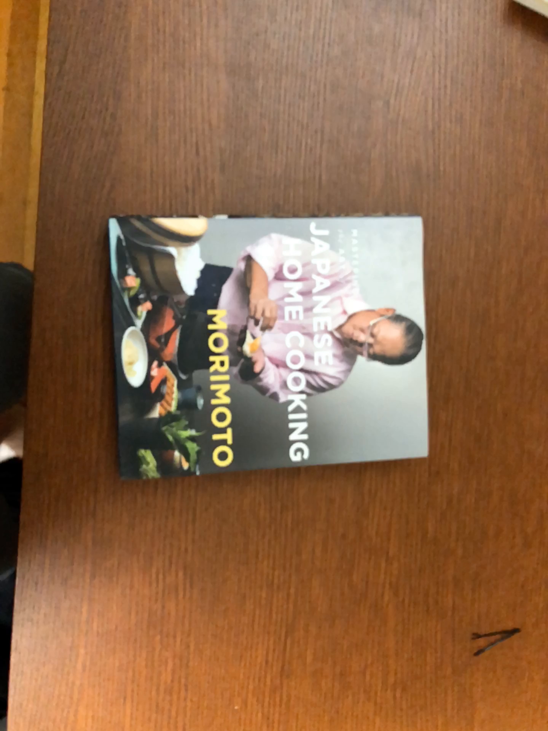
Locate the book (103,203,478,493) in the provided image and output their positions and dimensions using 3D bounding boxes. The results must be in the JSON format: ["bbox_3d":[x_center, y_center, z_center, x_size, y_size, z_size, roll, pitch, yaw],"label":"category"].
[{"bbox_3d":[0.020,-0.020,0.505,0.300,0.030,0.220,-3,92,-11],"label":"book"}]
